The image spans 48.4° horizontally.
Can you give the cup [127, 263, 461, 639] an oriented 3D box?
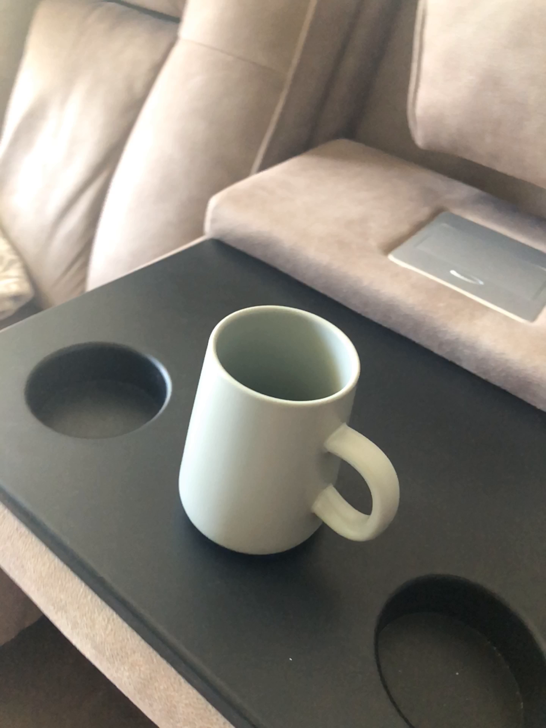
[{"bbox_3d":[0.002,0.042,0.327,0.137,0.121,0.087,35,47,26],"label":"cup"}]
